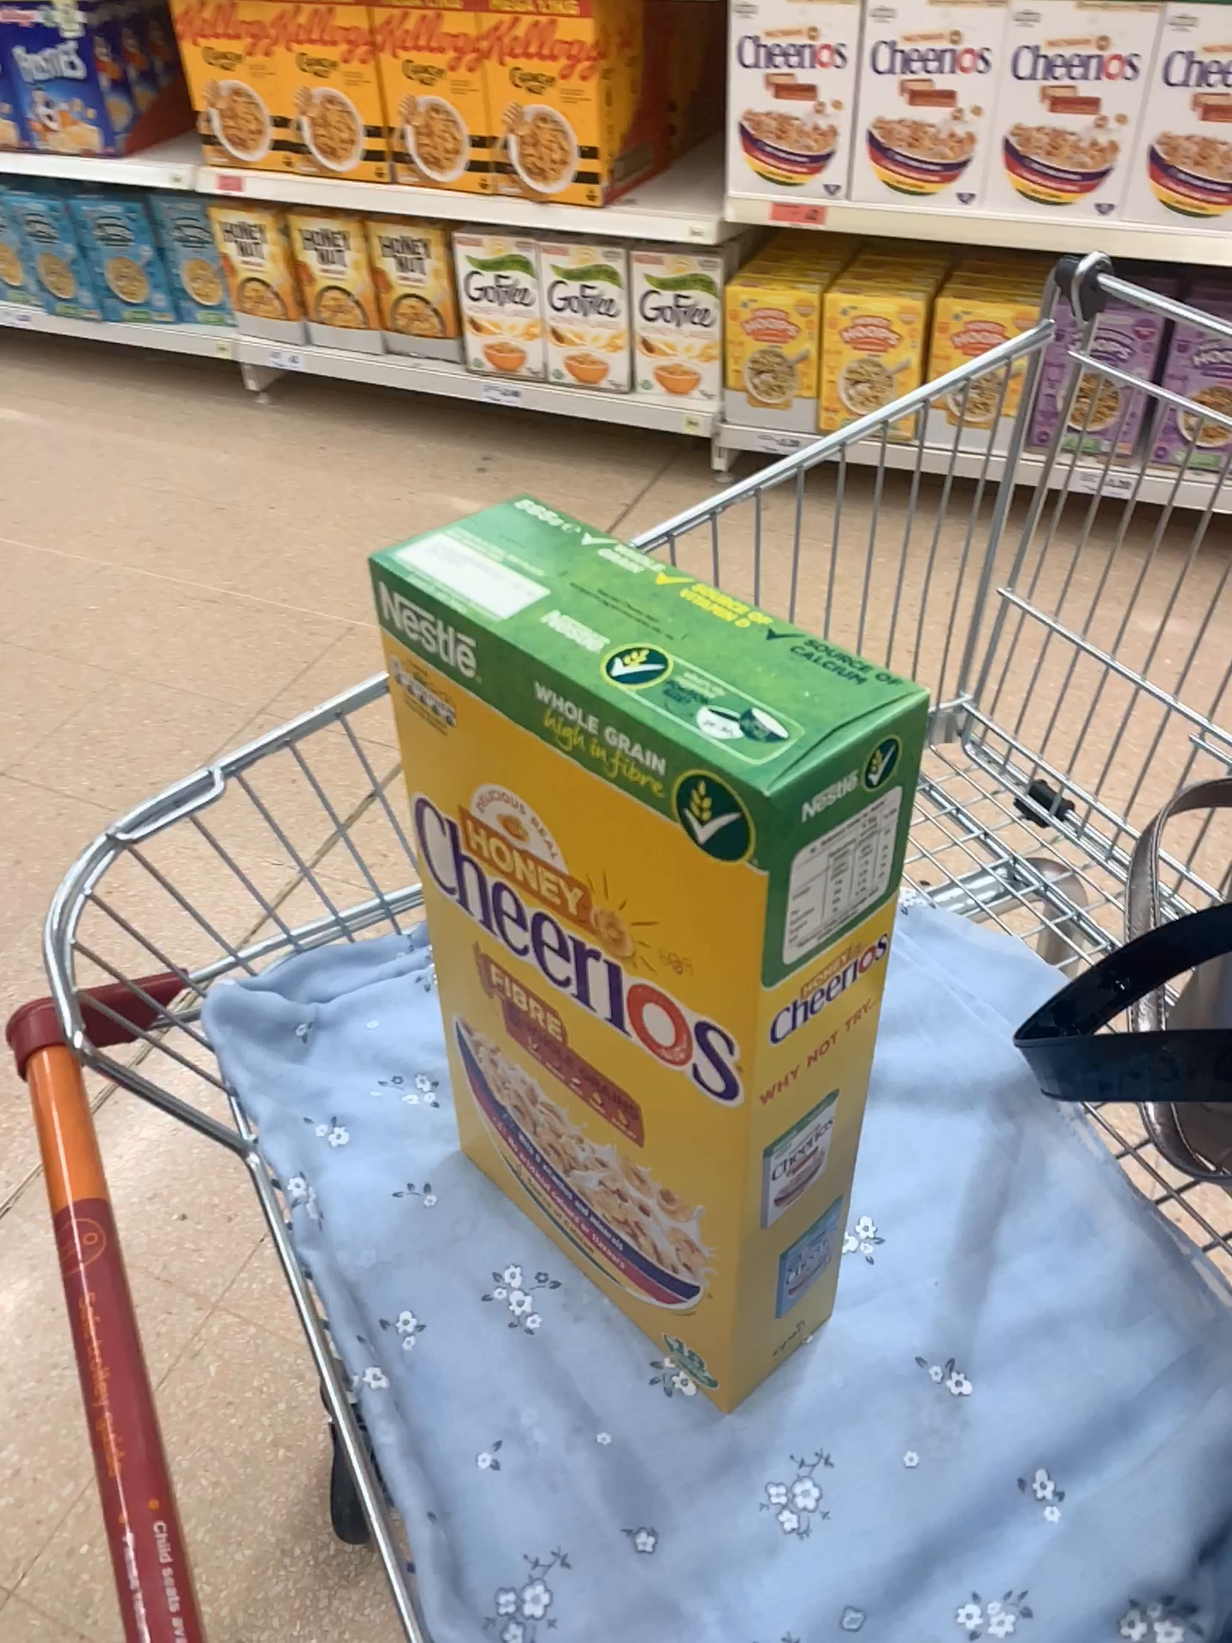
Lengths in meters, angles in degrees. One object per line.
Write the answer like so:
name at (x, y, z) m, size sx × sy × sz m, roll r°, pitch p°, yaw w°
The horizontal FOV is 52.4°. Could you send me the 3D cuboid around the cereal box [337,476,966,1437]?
cereal box at (0.004, 0.067, 0.514) m, size 0.080 × 0.347 × 0.211 m, roll -30°, pitch 48°, yaw -30°
